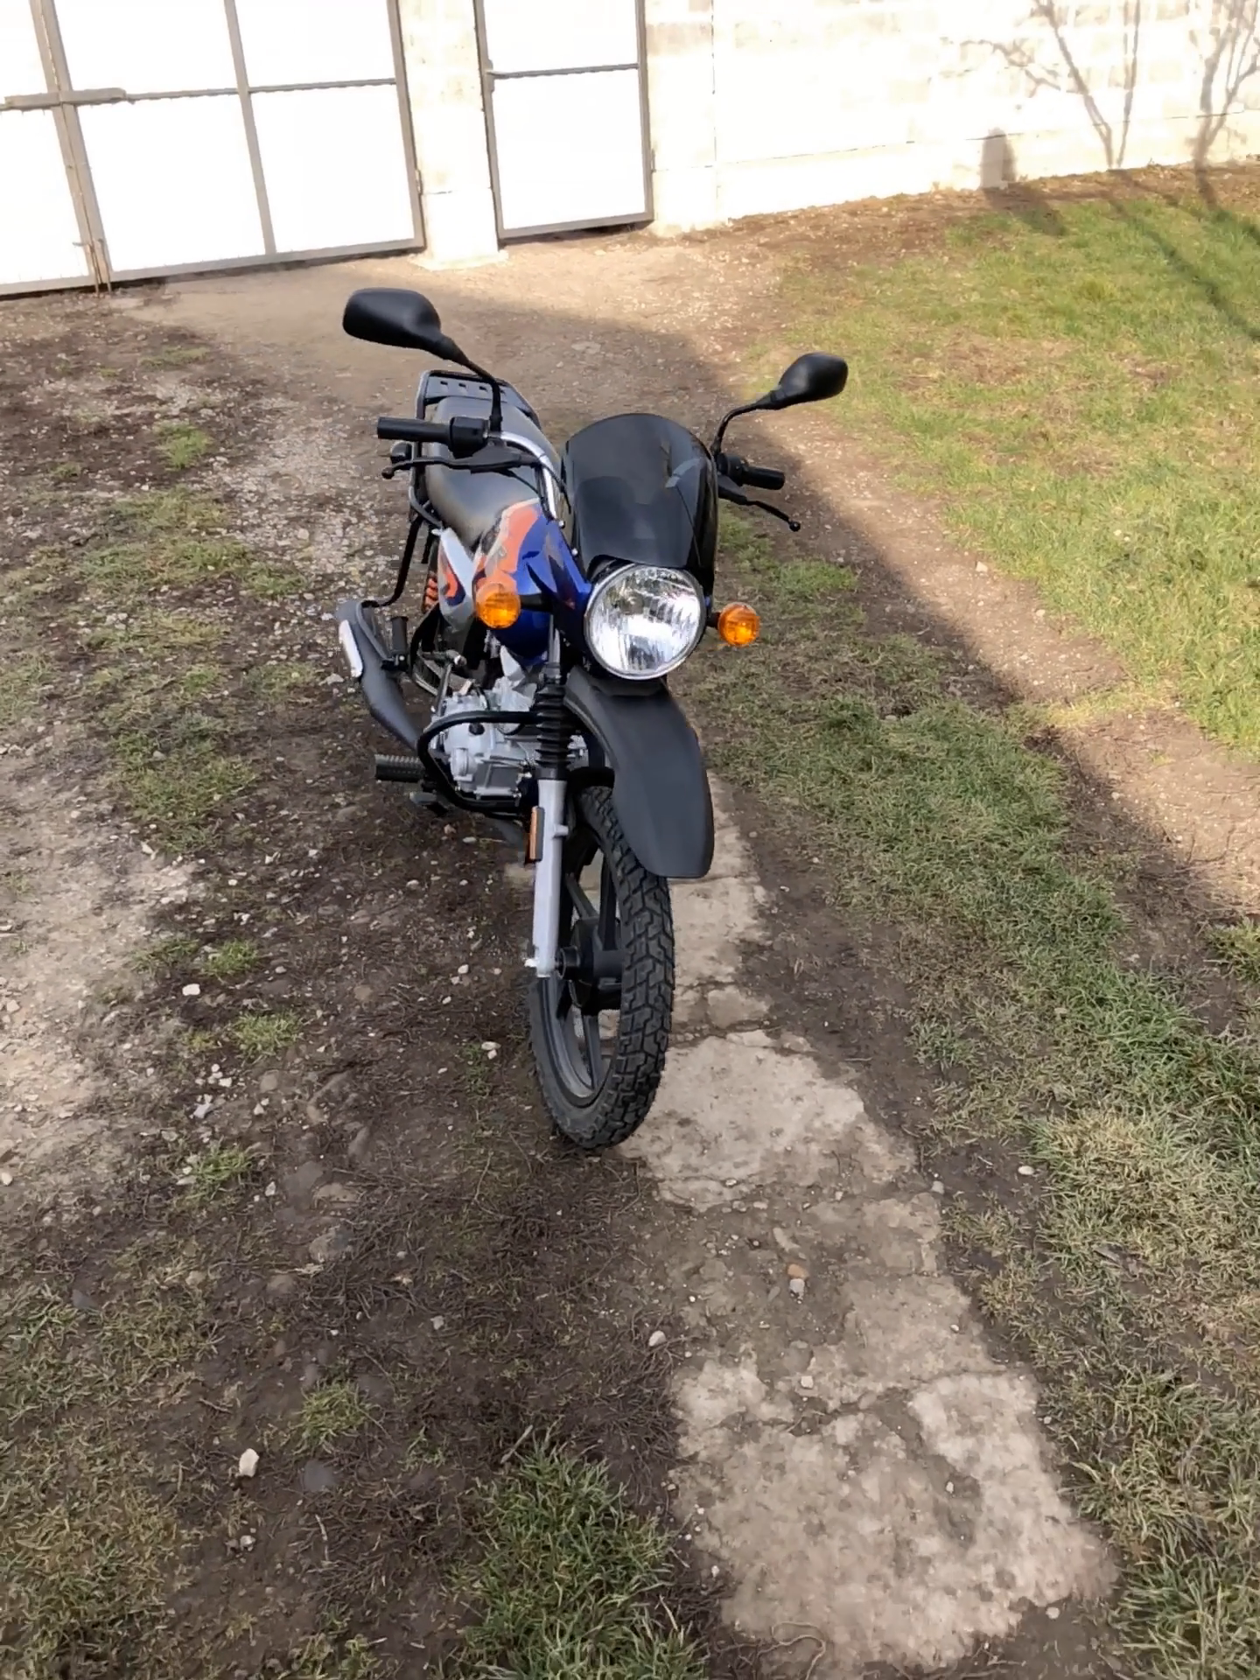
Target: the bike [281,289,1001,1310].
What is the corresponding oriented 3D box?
[{"bbox_3d":[-0.129,-0.285,2.630,0.807,1.049,1.791,-9,33,-12],"label":"bike"}]
